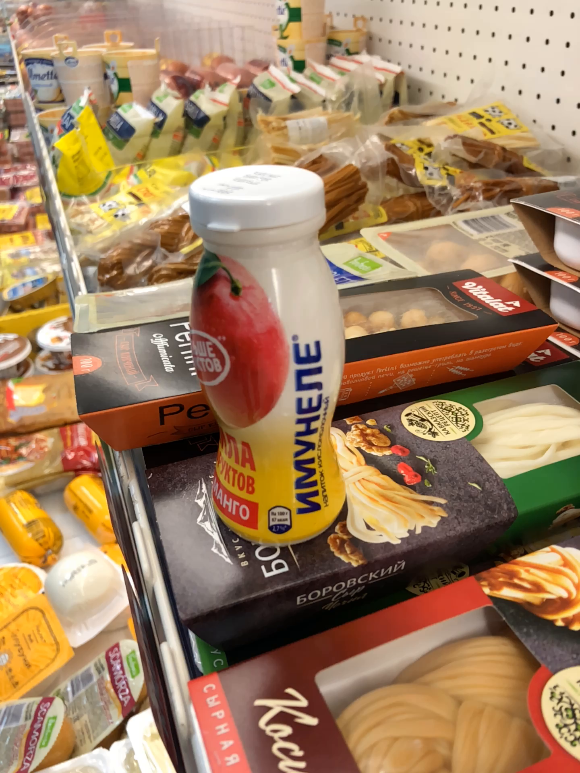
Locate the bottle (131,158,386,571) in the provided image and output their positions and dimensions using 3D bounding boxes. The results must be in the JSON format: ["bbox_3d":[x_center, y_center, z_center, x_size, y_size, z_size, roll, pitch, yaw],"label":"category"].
[{"bbox_3d":[-0.007,-0.006,0.185,0.044,0.099,0.046,-2,33,1],"label":"bottle"}]
